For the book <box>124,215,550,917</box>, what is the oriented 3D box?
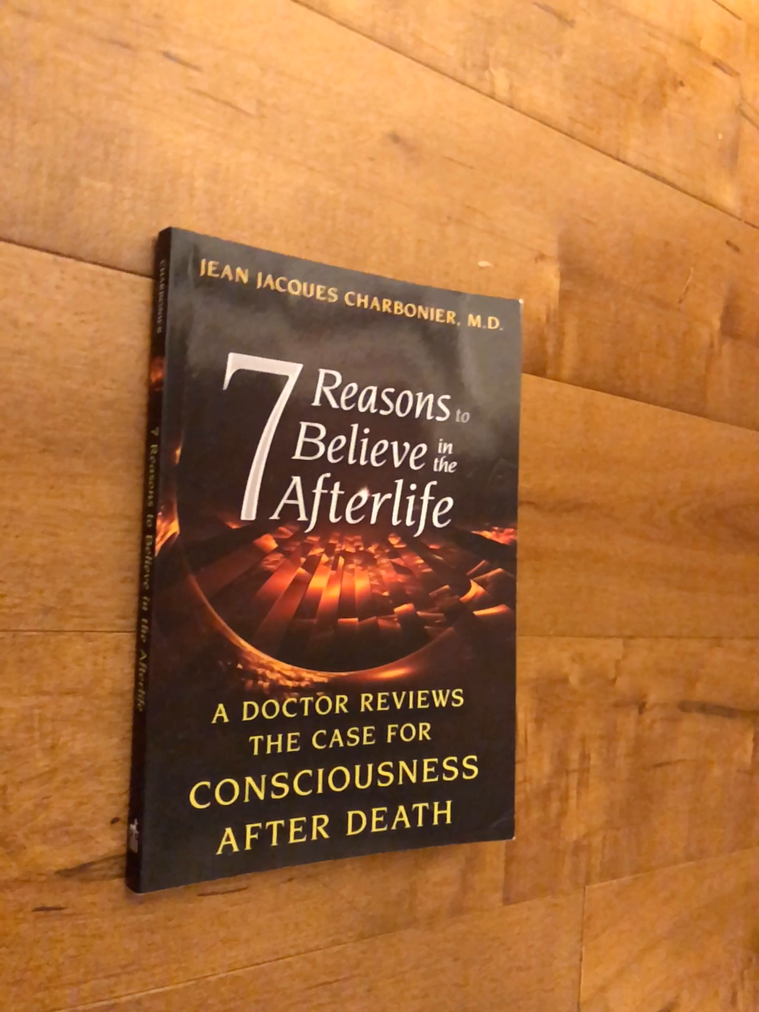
[{"bbox_3d":[-0.010,0.024,0.352,0.171,0.030,0.250,4,87,-27],"label":"book"}]
